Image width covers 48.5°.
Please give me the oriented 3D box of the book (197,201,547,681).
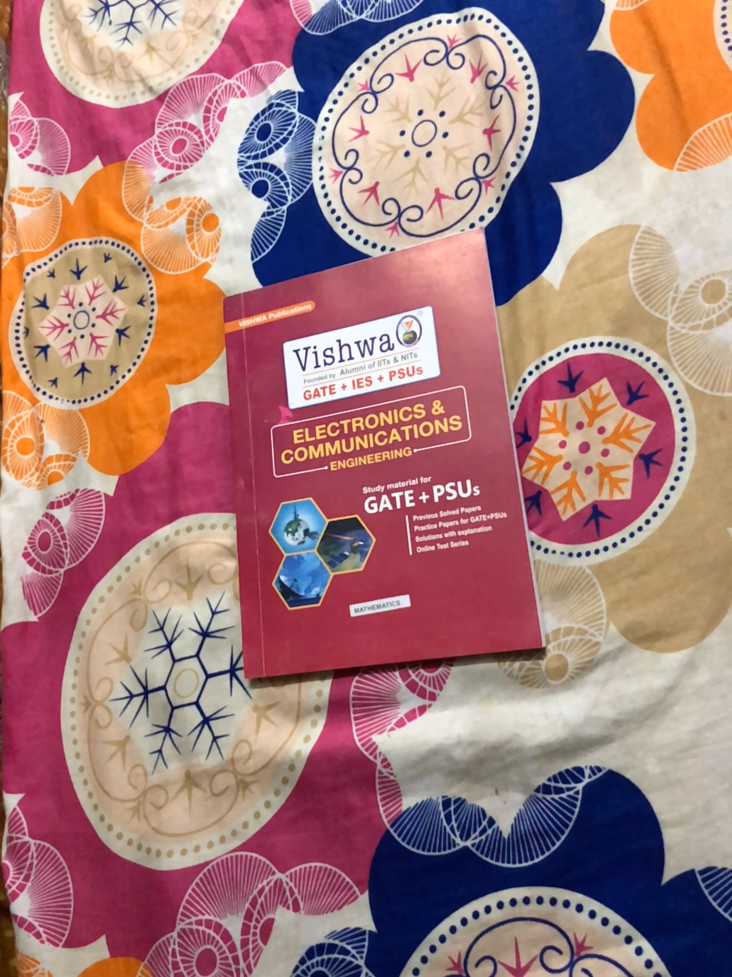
[{"bbox_3d":[-0.008,-0.031,0.560,0.217,0.030,0.300,-10,75,16],"label":"book"}]
